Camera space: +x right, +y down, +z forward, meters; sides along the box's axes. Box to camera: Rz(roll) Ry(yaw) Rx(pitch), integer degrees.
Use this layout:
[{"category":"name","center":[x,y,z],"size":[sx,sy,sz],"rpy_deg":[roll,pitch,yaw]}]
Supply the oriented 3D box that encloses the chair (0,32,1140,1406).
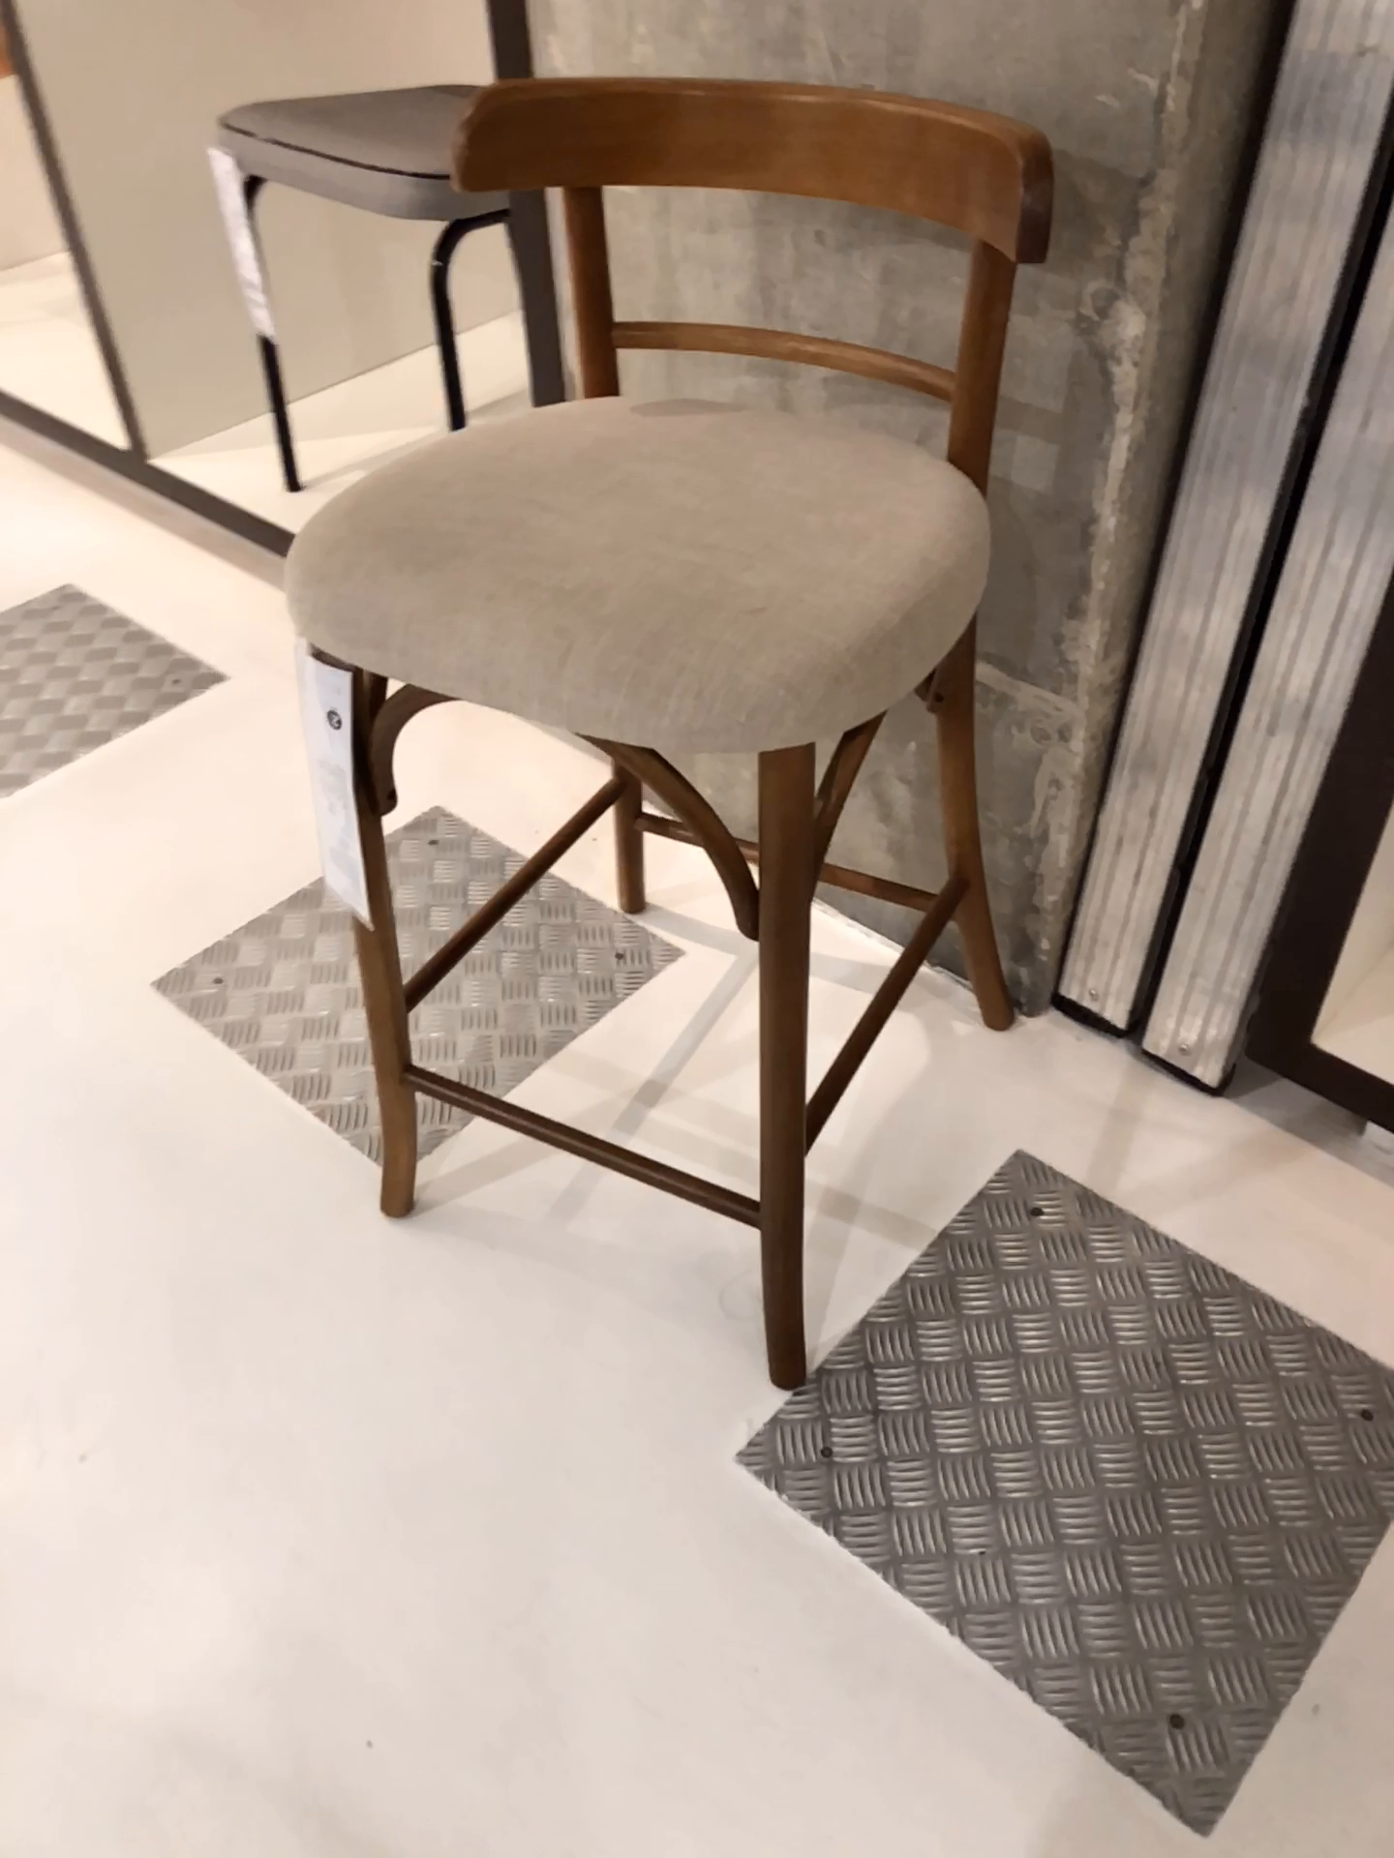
[{"category":"chair","center":[-0.035,-0.147,1.140],"size":[0.481,0.794,0.483],"rpy_deg":[18,46,21]}]
